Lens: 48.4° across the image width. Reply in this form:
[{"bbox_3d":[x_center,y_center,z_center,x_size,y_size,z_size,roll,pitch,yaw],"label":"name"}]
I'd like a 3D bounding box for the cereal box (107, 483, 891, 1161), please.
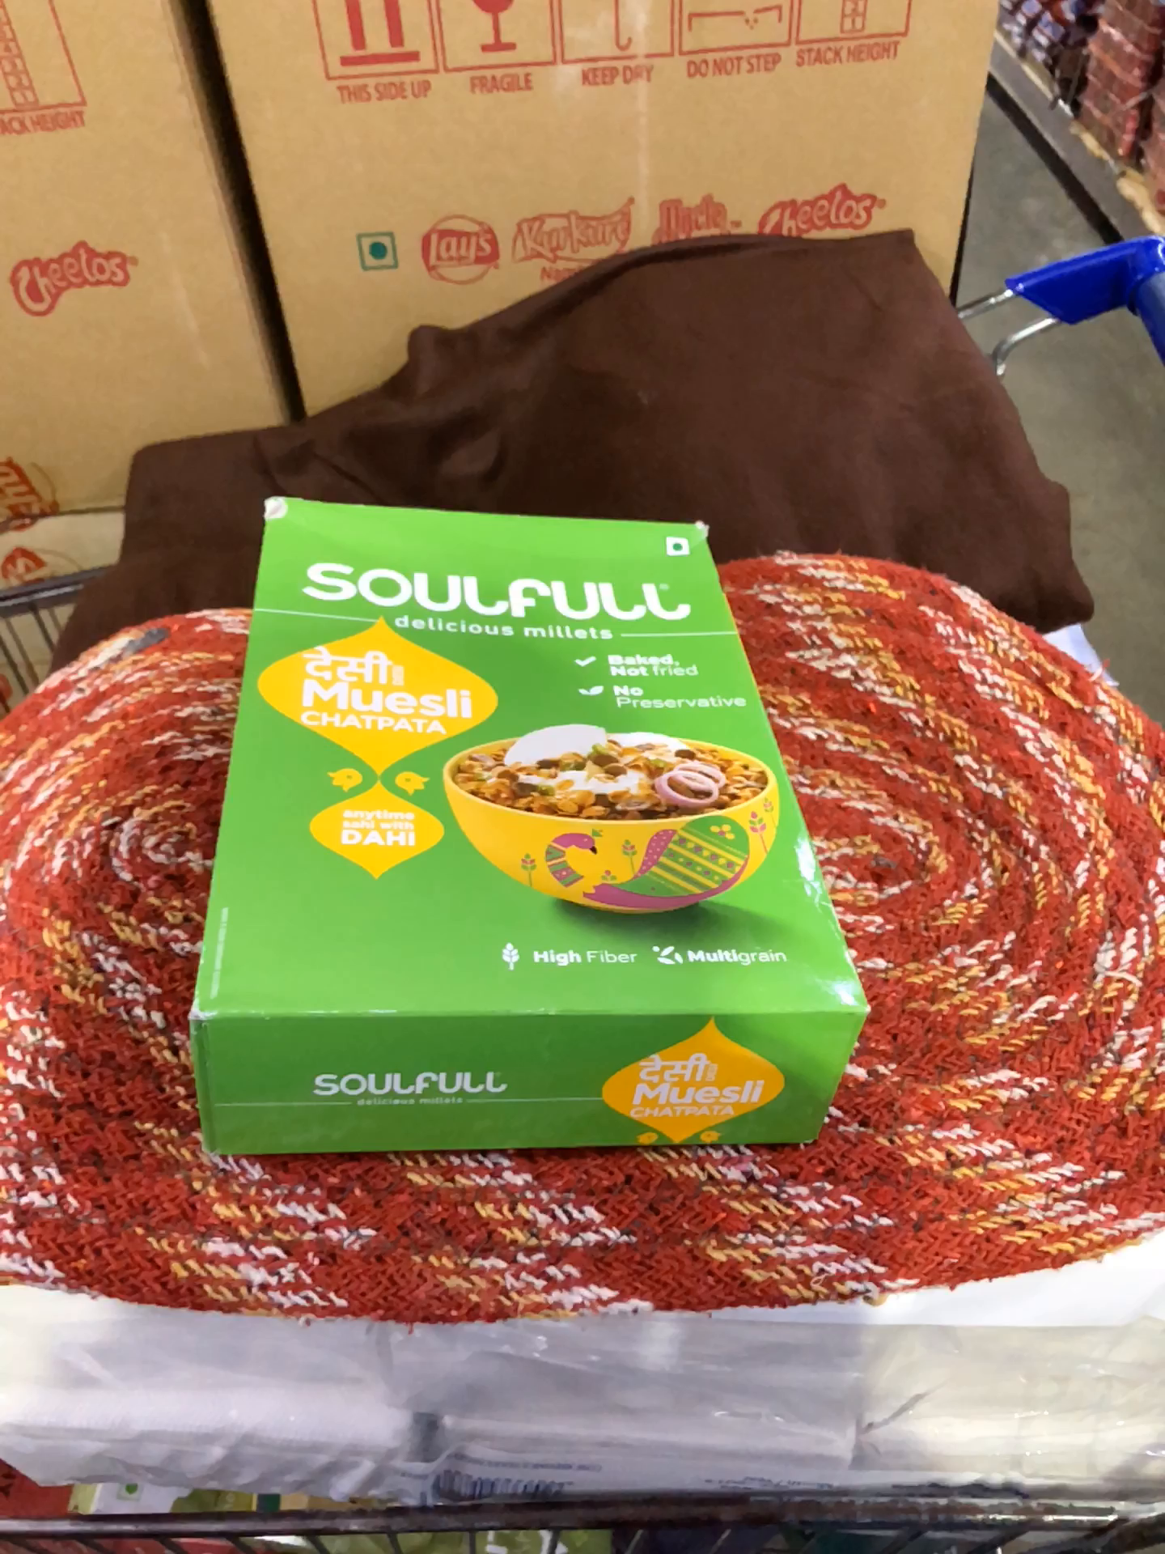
[{"bbox_3d":[-0.029,-0.006,0.393,0.170,0.060,0.241,1,38,-7],"label":"cereal box"}]
